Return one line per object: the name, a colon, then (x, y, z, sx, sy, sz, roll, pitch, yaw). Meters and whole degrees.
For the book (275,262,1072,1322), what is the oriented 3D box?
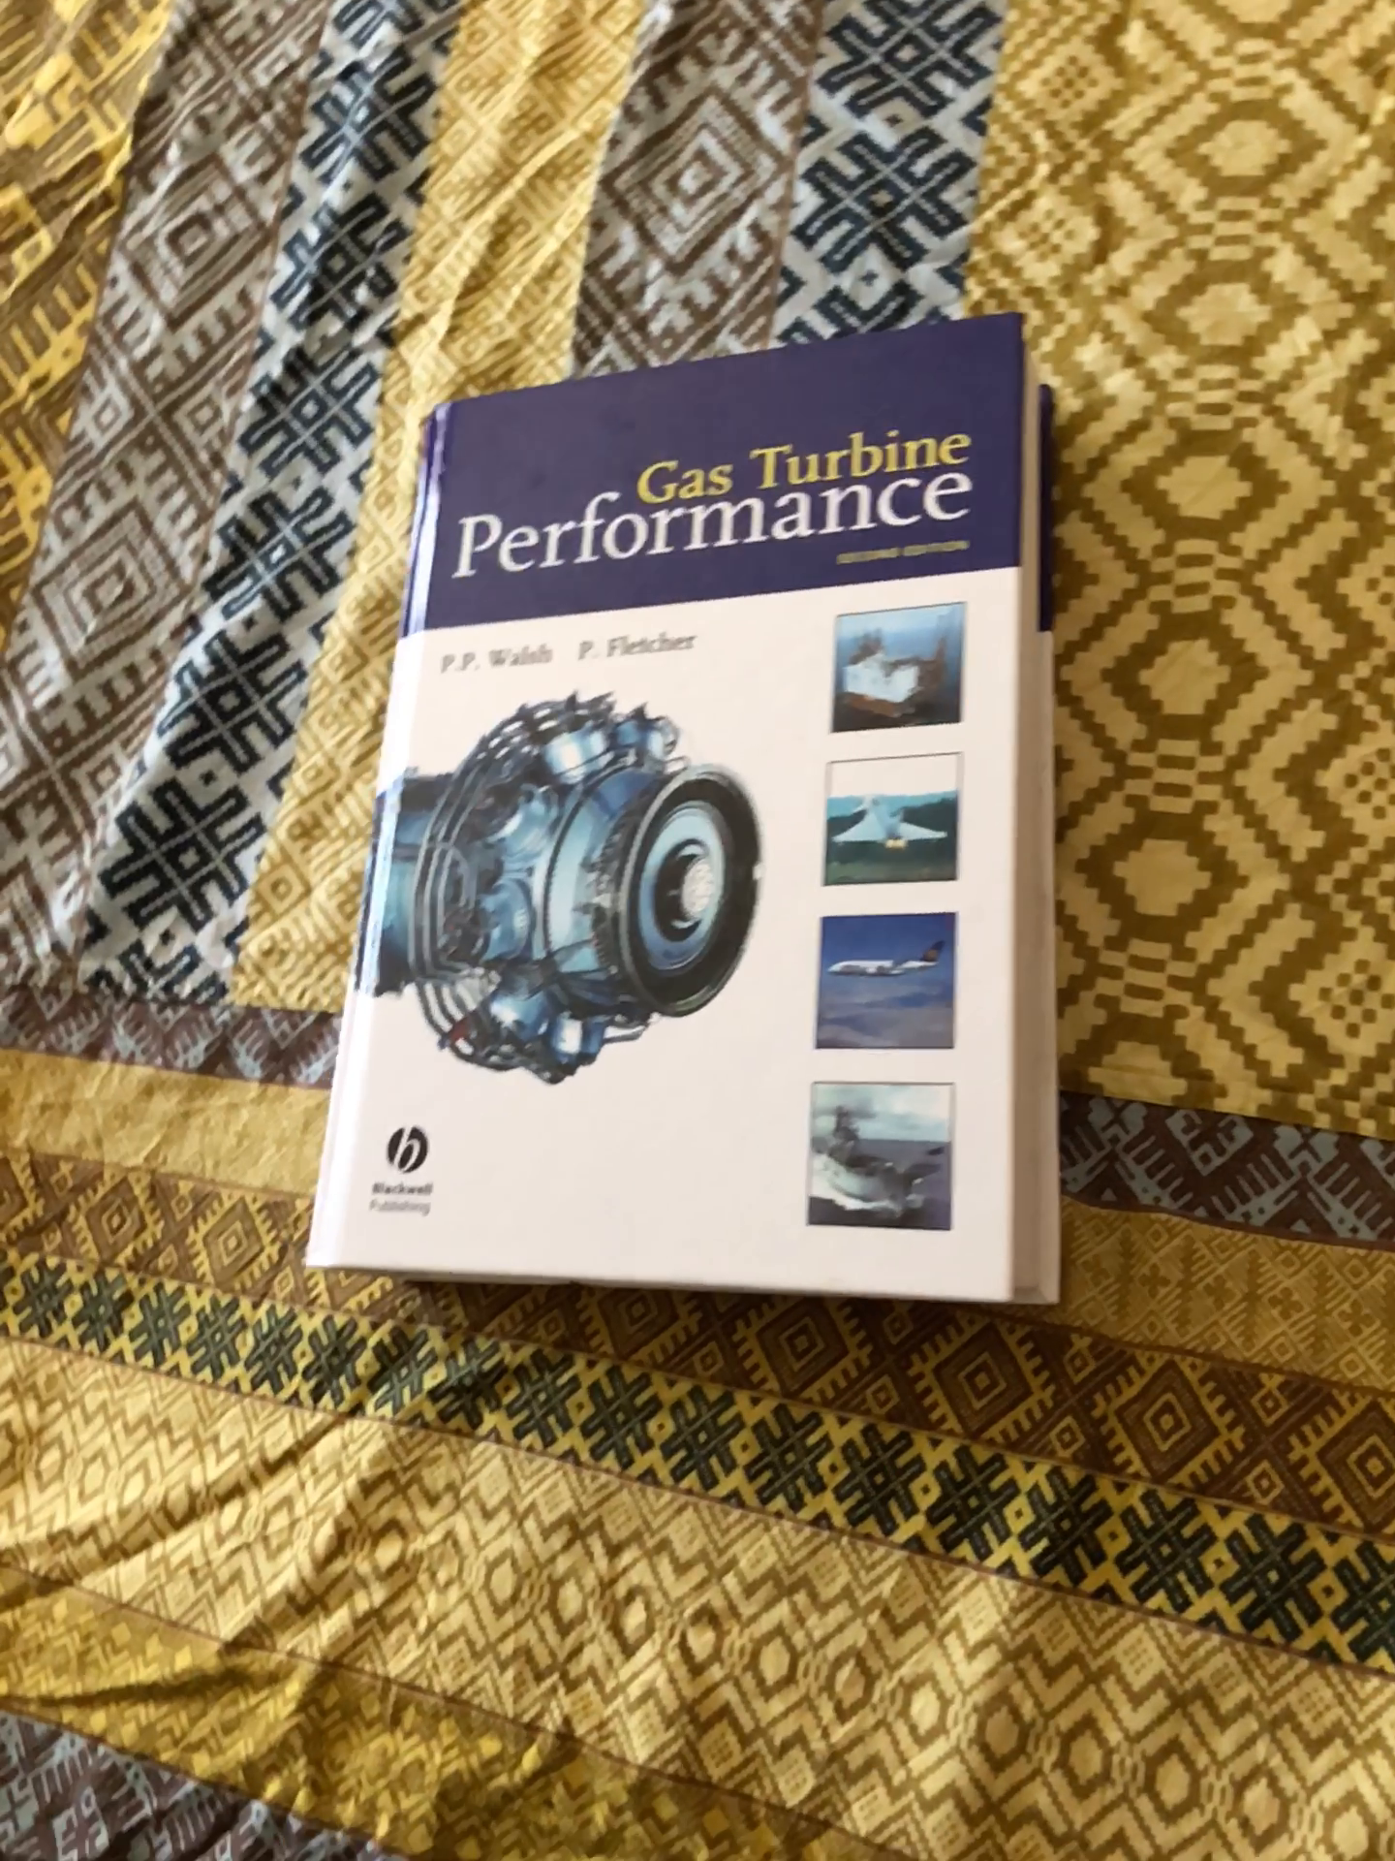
book: (0.002, -0.038, 0.432, 0.193, 0.060, 0.272, -2, 71, 18)
